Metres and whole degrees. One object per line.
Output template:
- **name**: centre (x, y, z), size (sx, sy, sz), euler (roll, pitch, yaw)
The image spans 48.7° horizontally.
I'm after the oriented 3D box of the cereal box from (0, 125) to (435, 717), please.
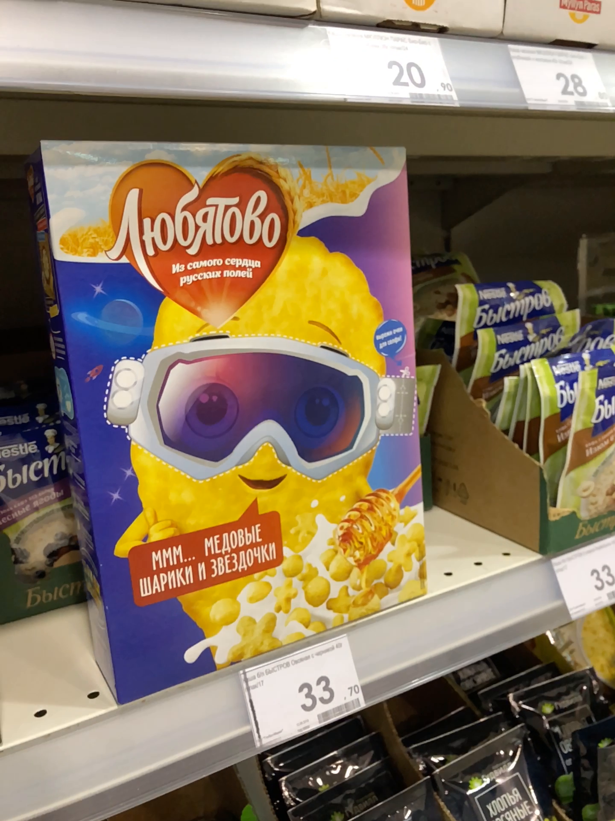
- **cereal box**: centre (-0.033, -0.005, 0.359), size (0.200, 0.259, 0.050), euler (-10, 12, -27)
